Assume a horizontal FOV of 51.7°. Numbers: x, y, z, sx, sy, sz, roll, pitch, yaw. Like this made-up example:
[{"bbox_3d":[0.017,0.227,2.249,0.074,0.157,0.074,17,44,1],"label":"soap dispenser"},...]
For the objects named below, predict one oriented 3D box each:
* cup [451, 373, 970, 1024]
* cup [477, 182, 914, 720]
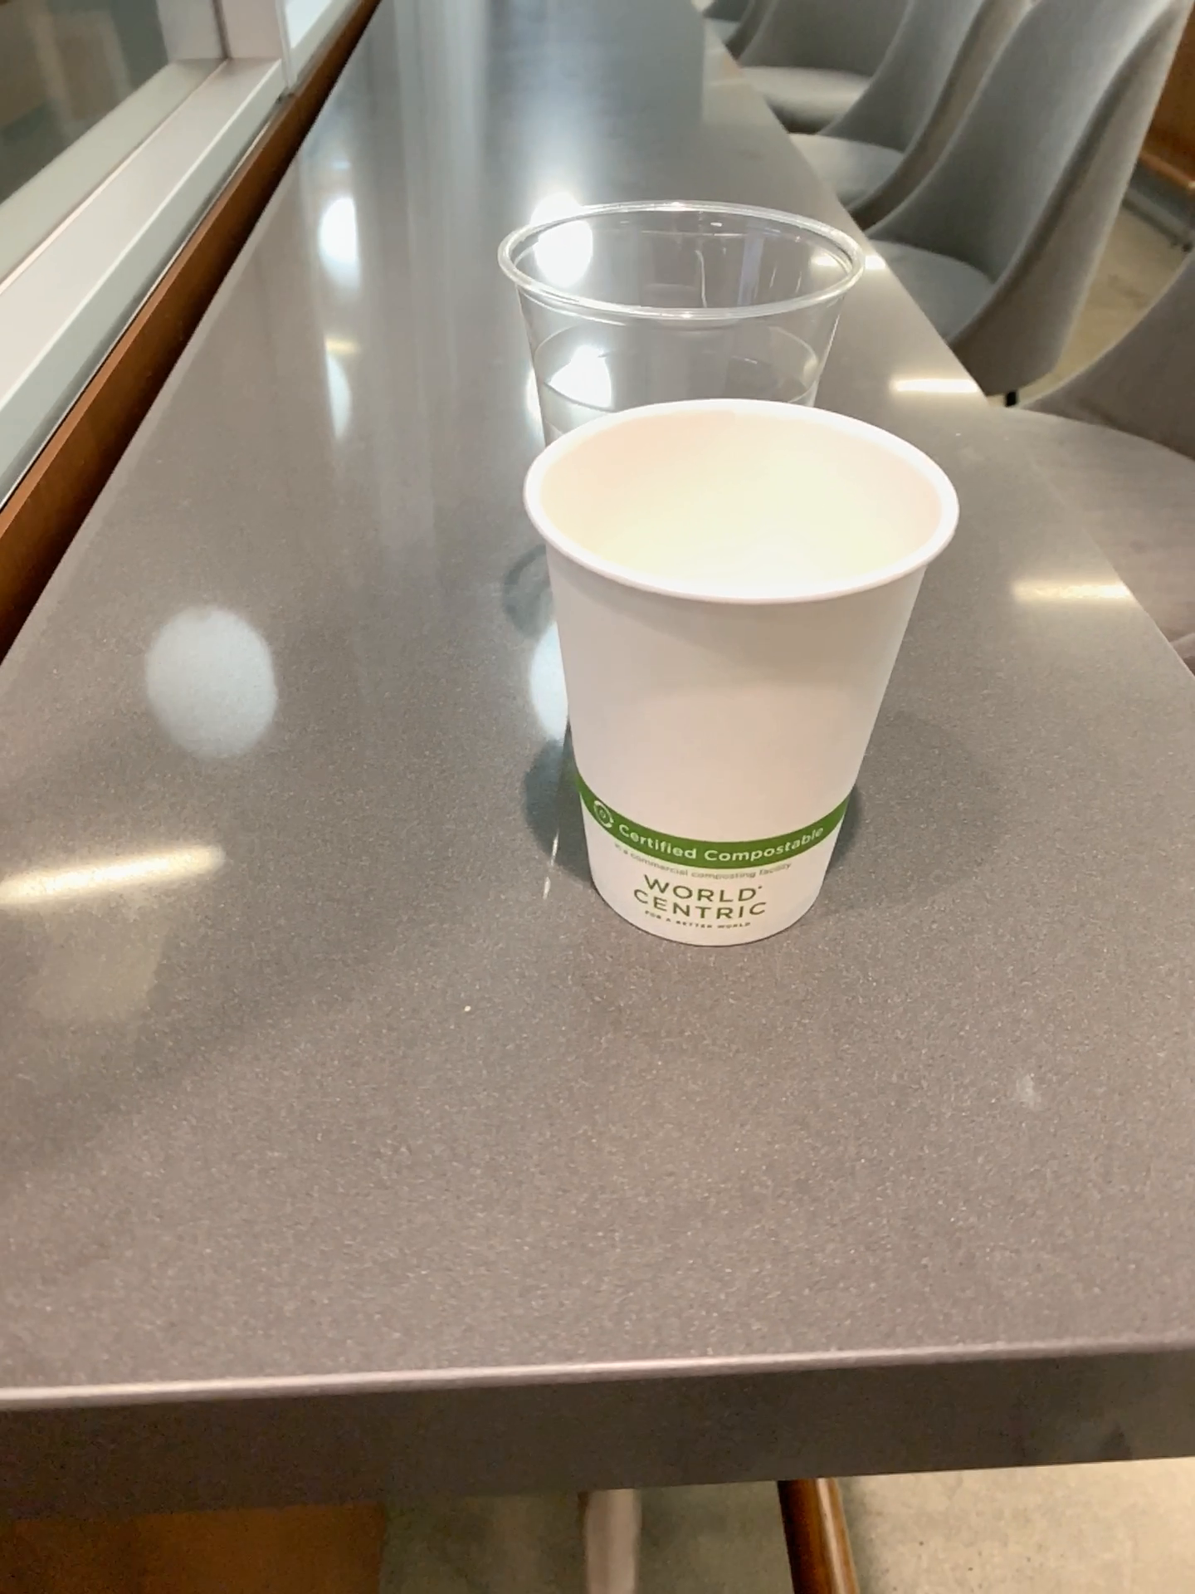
[{"bbox_3d":[0.026,-0.024,0.283,0.090,0.109,0.090,0,40,0],"label":"cup"},{"bbox_3d":[0.028,-0.098,0.350,0.100,0.119,0.080,5,40,7],"label":"cup"}]
